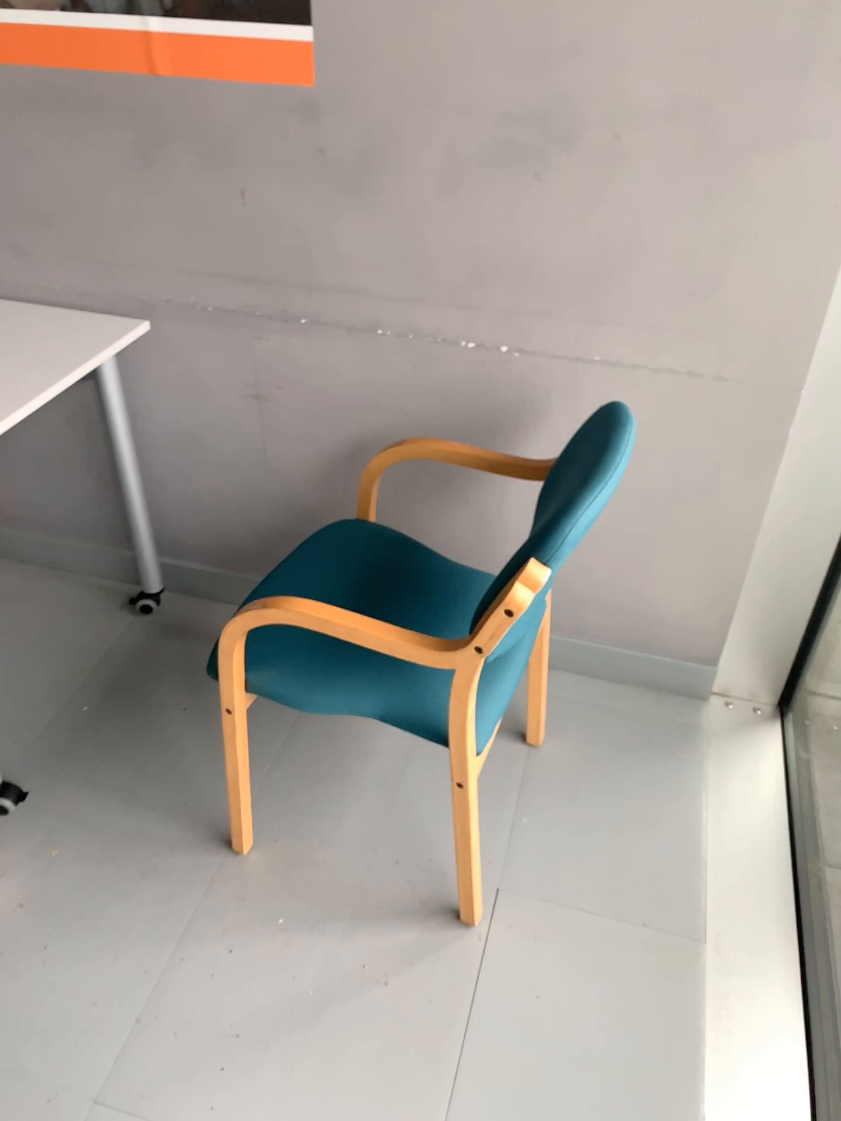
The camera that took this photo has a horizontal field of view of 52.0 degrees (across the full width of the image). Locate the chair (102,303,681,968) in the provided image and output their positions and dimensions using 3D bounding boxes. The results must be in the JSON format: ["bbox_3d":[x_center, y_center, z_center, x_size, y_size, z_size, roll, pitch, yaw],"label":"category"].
[{"bbox_3d":[0.012,0.075,1.455,0.641,0.723,0.686,12,37,14],"label":"chair"}]
